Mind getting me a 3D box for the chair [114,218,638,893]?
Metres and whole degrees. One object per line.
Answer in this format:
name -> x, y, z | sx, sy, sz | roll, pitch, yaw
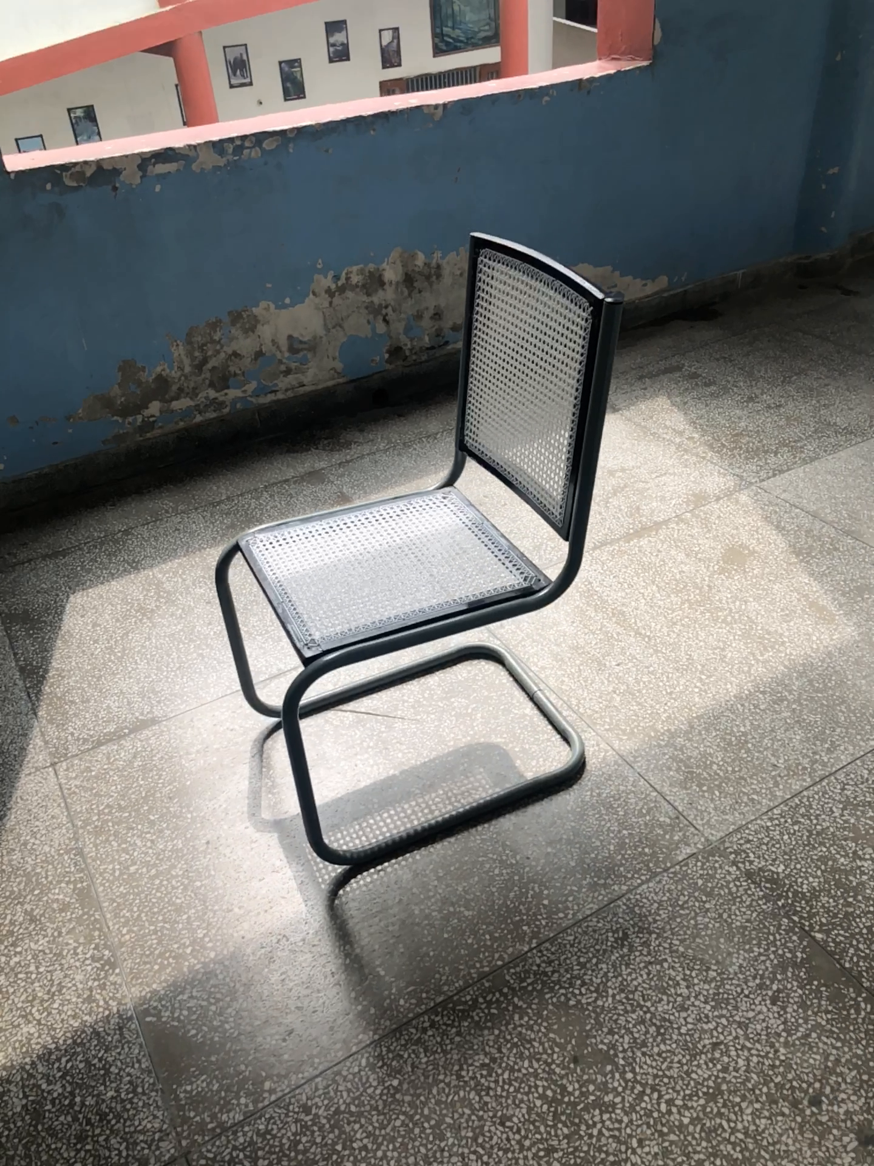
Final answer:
chair -> -0.083, -0.060, 1.536 | 0.570, 0.817, 0.492 | -18, 37, -18
